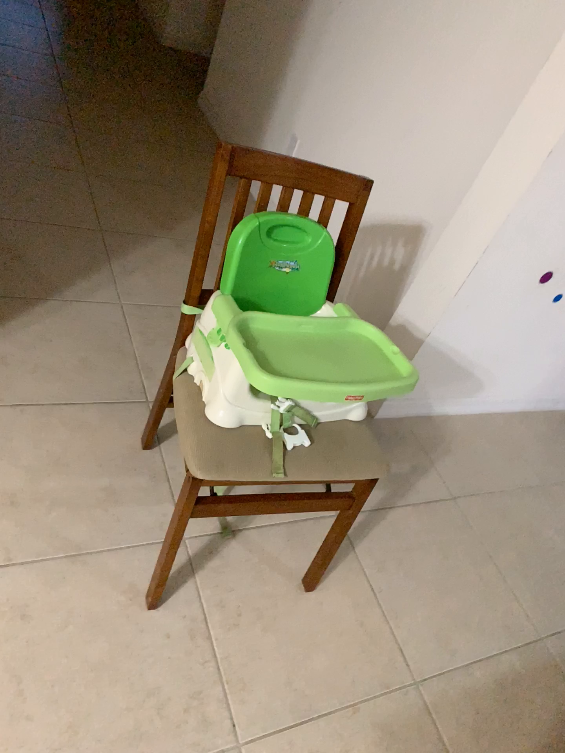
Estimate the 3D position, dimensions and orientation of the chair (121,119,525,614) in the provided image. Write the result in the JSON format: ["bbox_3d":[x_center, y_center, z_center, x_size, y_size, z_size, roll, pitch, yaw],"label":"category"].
[{"bbox_3d":[-0.036,0.030,1.288,0.456,0.882,0.558,5,42,-25],"label":"chair"}]

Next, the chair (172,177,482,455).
[{"bbox_3d":[0.052,-0.109,1.134,0.406,0.328,0.387,2,44,-27],"label":"chair"}]
